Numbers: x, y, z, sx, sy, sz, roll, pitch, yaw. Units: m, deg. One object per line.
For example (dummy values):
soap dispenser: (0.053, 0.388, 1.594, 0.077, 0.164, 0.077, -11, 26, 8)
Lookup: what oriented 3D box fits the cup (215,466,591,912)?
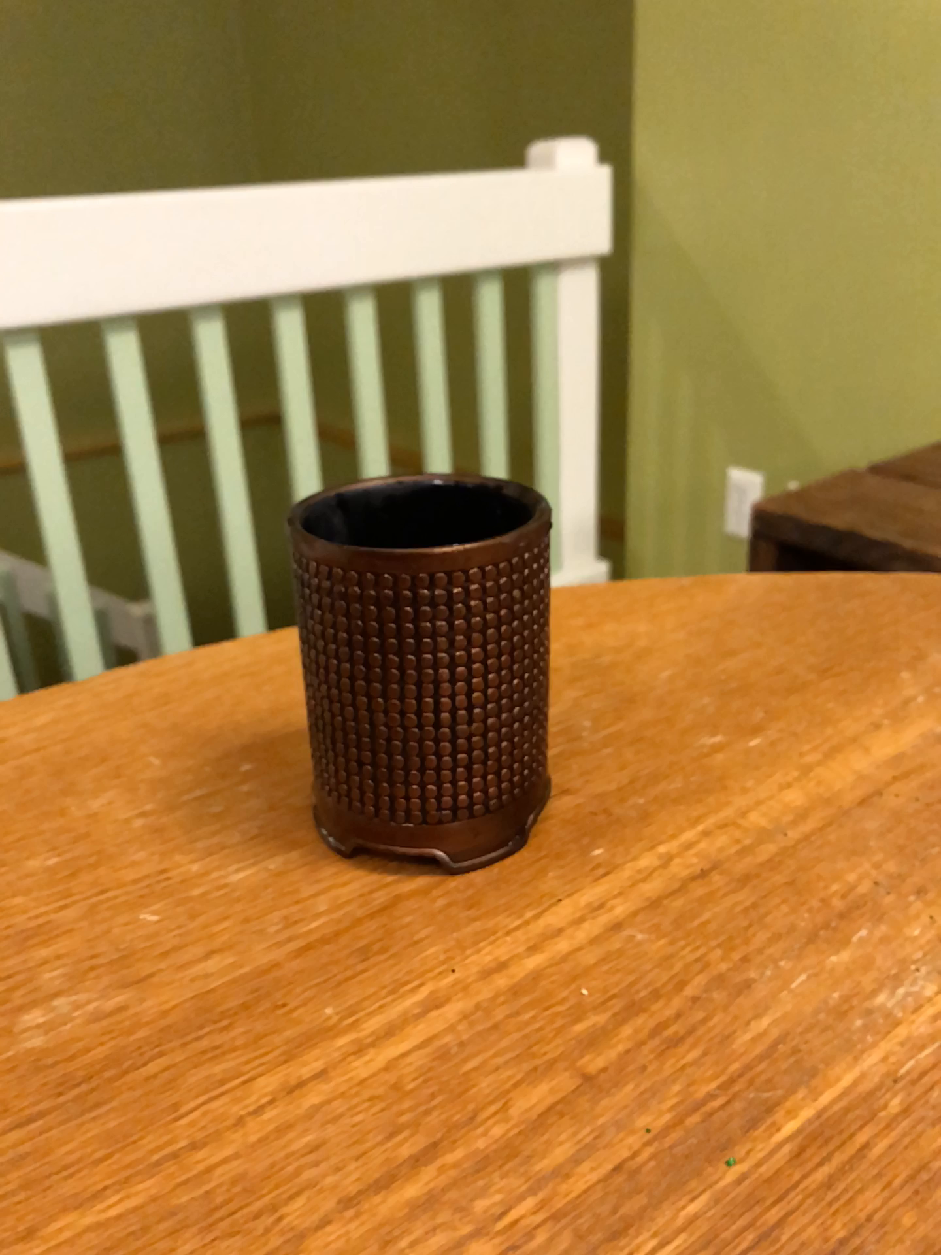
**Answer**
cup: (-0.016, 0.012, 0.313, 0.077, 0.097, 0.073, -2, 23, 1)
